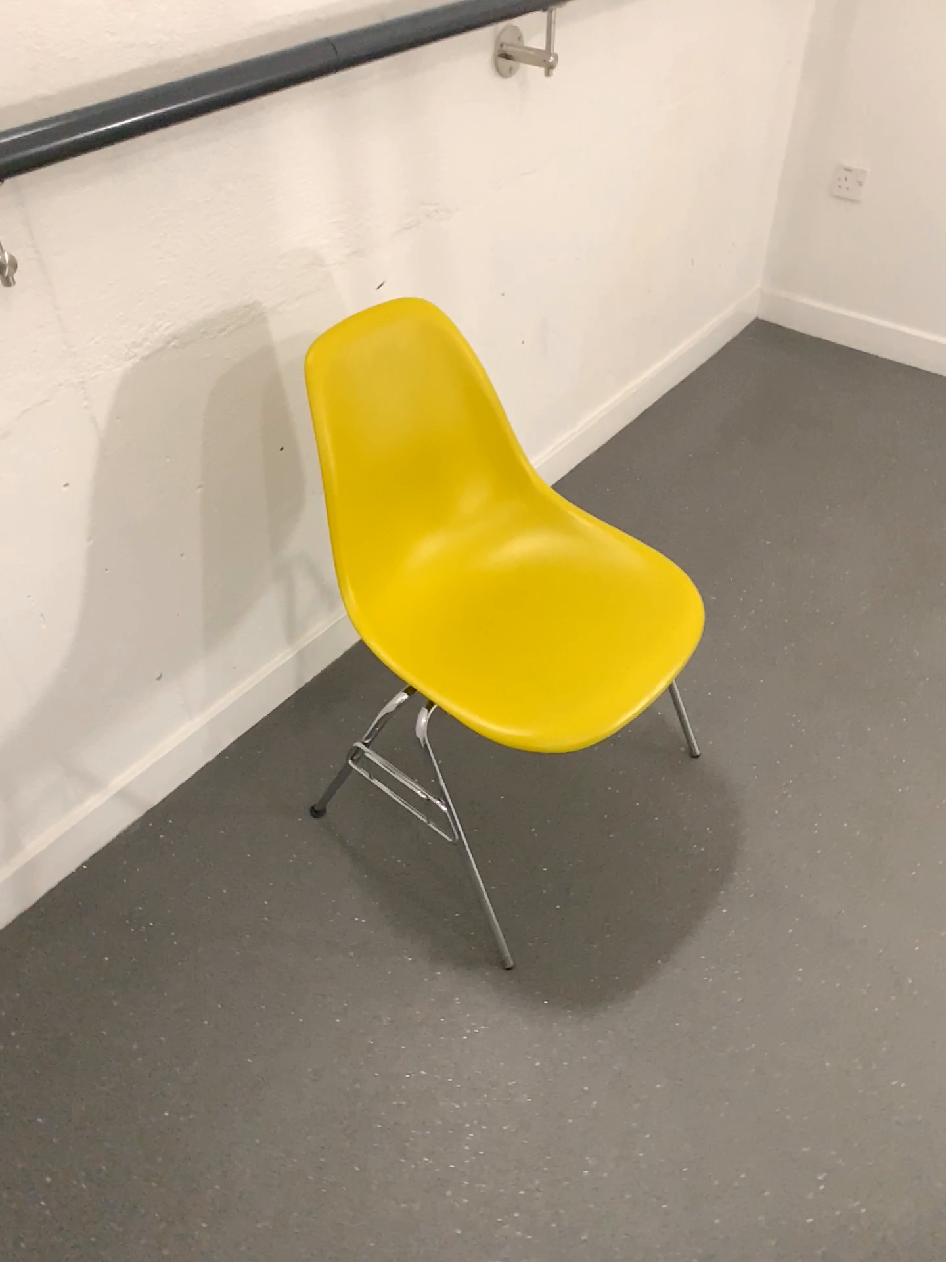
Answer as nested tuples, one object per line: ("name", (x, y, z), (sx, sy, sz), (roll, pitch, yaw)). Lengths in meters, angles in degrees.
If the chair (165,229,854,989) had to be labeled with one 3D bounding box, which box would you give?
("chair", (0.062, -0.056, 1.403), (0.563, 0.732, 0.624), (30, 51, 29))
